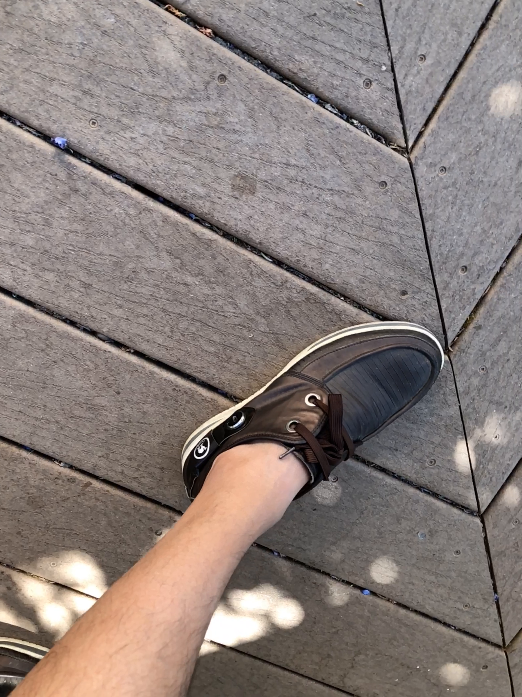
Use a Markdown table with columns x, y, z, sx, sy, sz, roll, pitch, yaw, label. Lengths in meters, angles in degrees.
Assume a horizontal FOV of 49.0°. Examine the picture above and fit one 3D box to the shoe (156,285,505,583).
| x | y | z | sx | sy | sz | roll | pitch | yaw | label |
| --- | --- | --- | --- | --- | --- | --- | --- | --- | --- |
| 0.056 | 0.077 | 0.551 | 0.296 | 0.110 | 0.110 | -32 | 112 | 5 | shoe |
